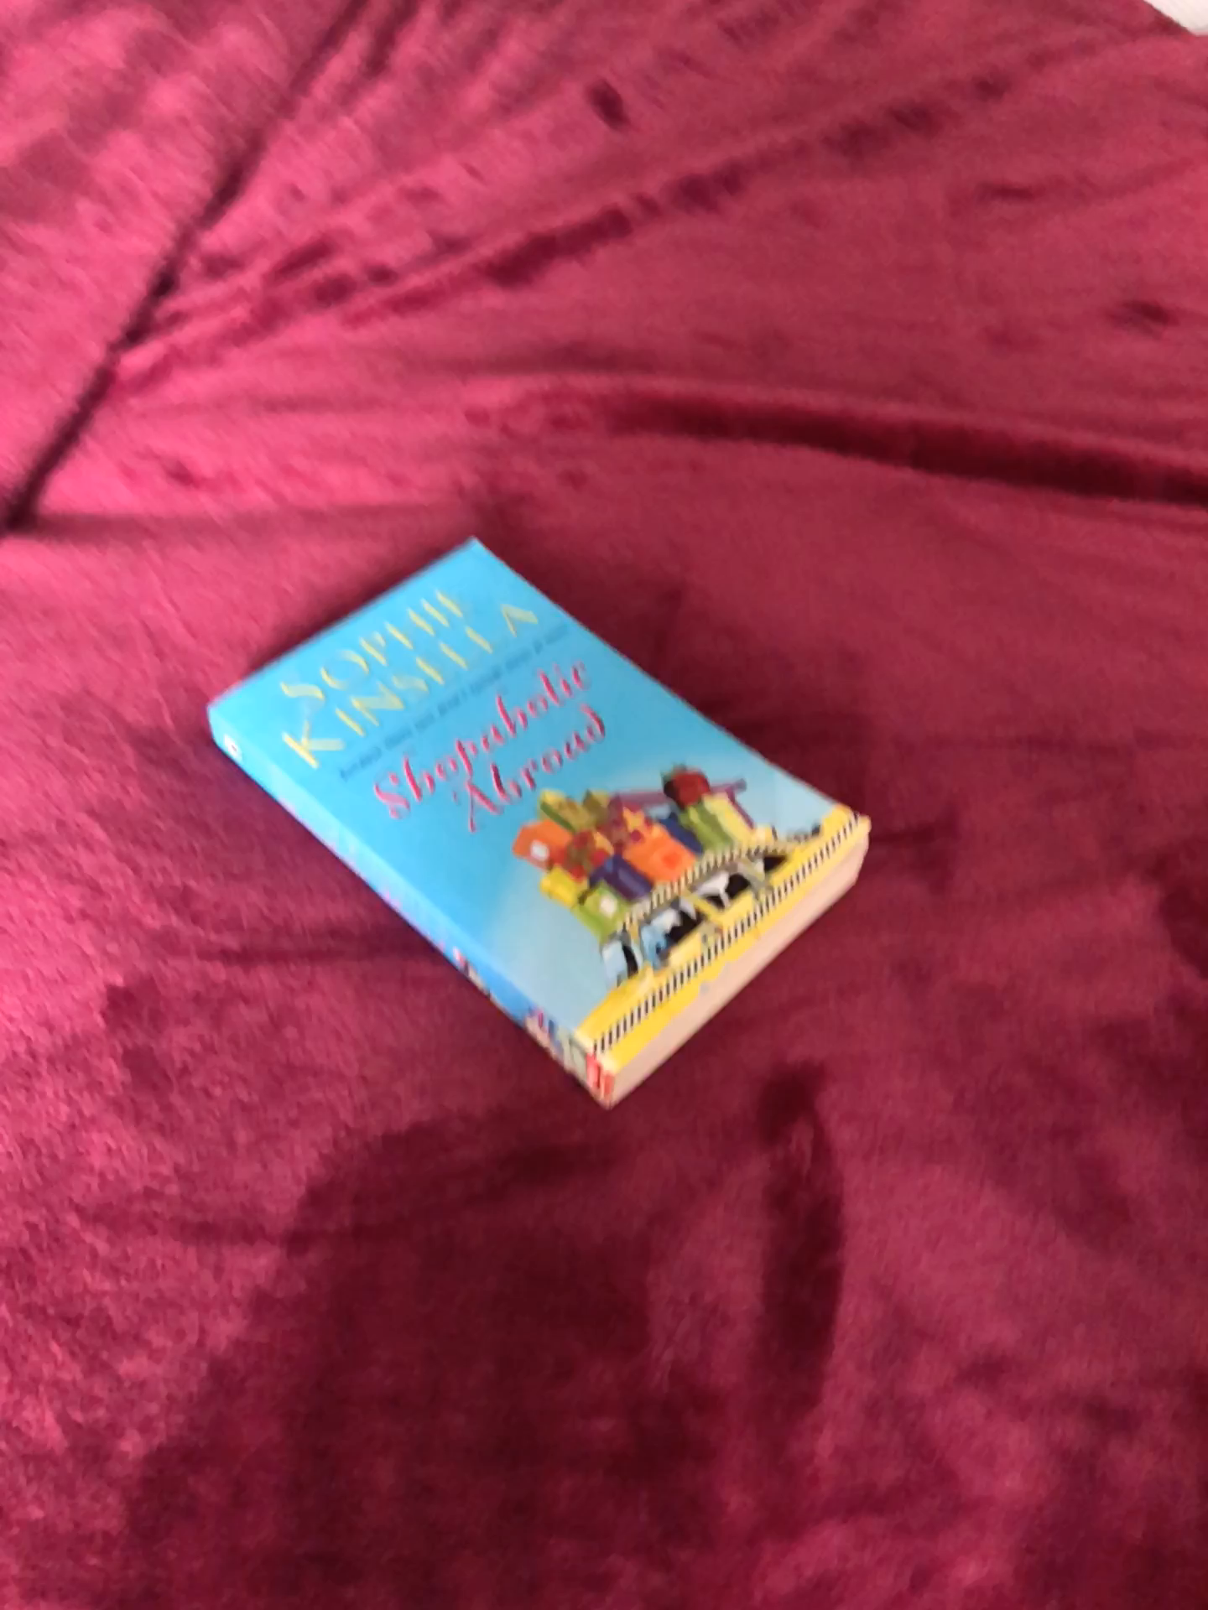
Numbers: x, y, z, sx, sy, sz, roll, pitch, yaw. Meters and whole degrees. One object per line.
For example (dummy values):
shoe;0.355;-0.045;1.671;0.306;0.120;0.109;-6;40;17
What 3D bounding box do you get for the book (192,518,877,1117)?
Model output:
book;-0.027;-0.008;0.467;0.200;0.035;0.130;39;59;22
